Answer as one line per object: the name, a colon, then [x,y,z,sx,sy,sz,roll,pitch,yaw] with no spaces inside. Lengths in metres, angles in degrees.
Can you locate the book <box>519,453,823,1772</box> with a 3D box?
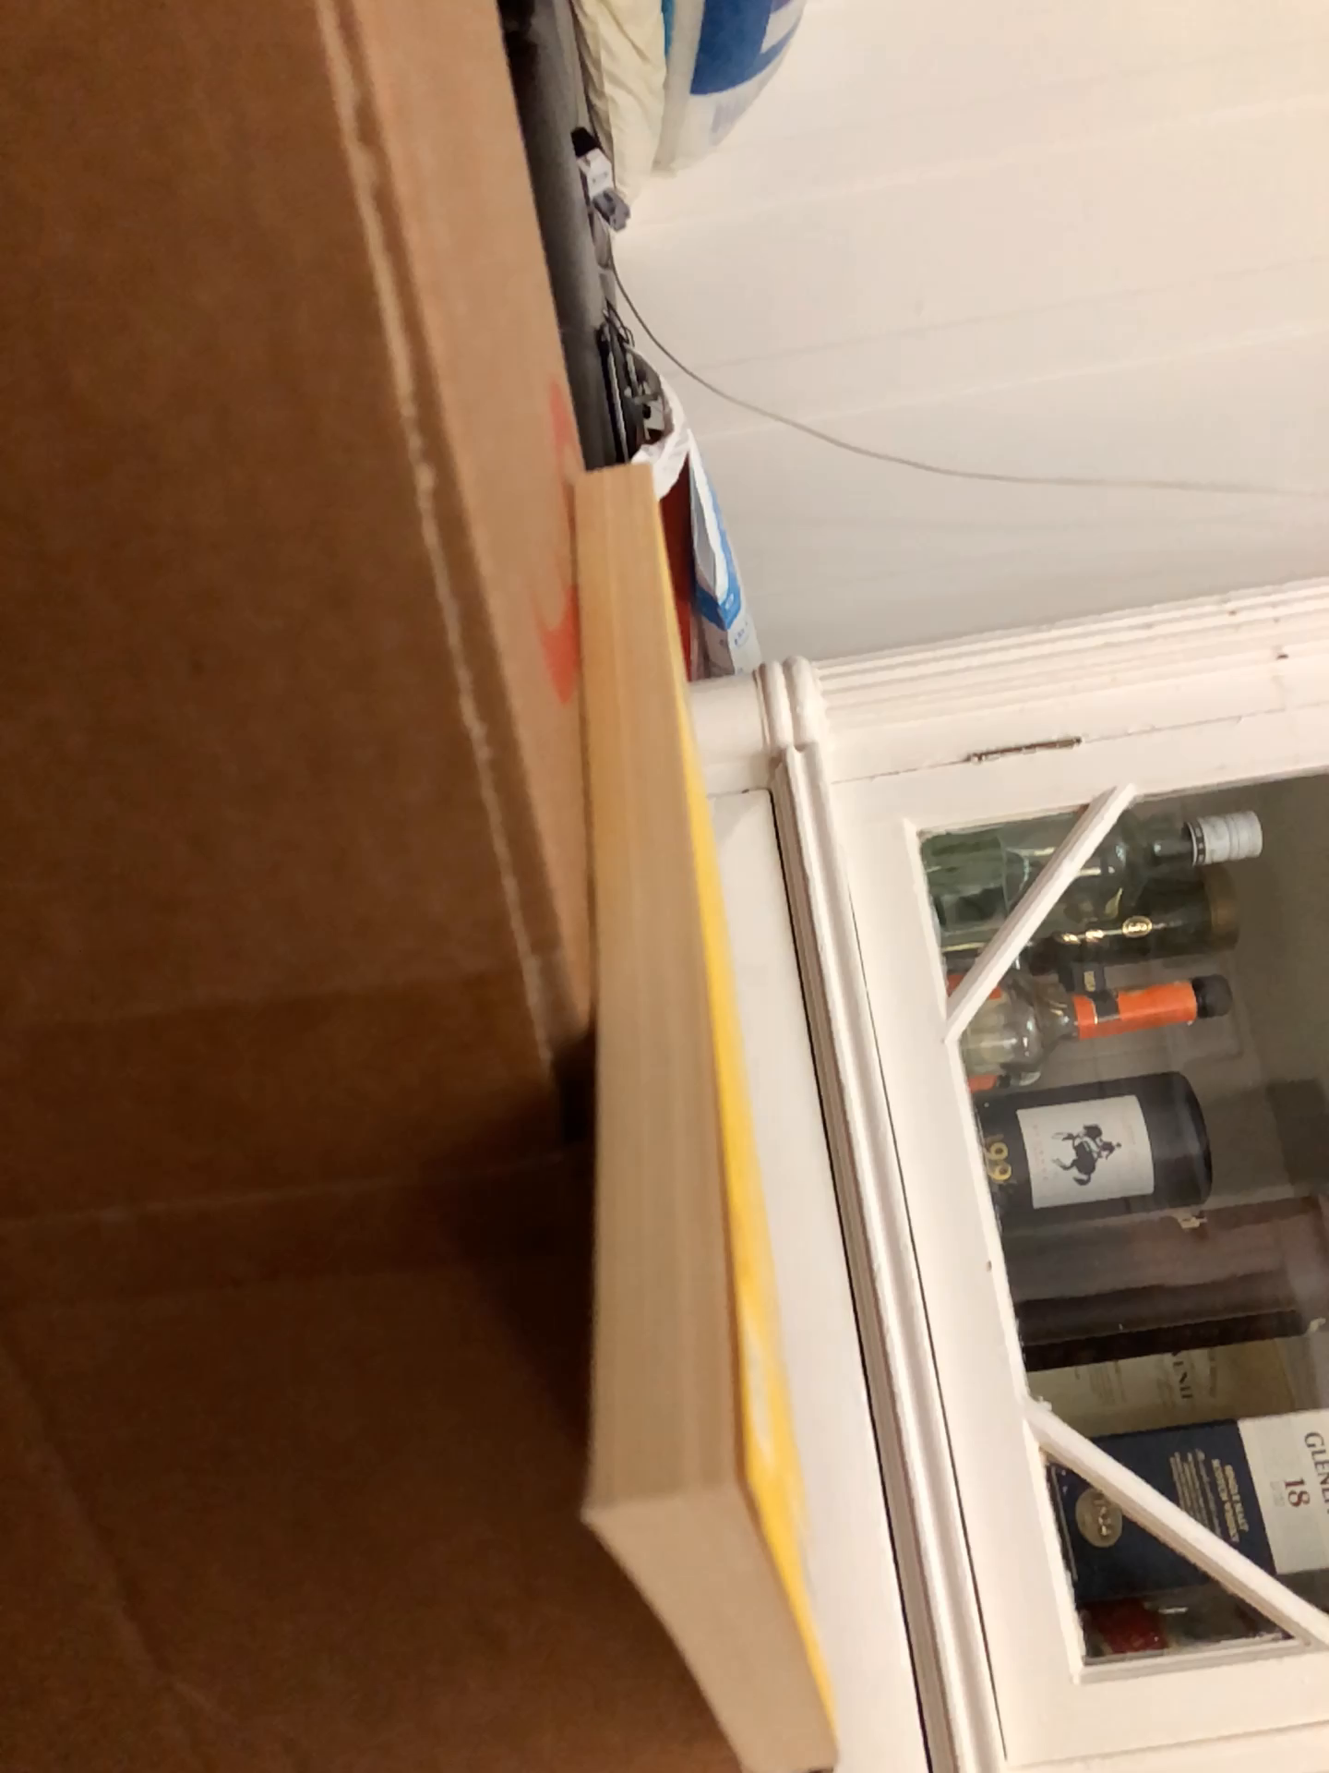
book: [0.000,0.046,0.264,0.150,0.020,0.210,78,5,-48]
